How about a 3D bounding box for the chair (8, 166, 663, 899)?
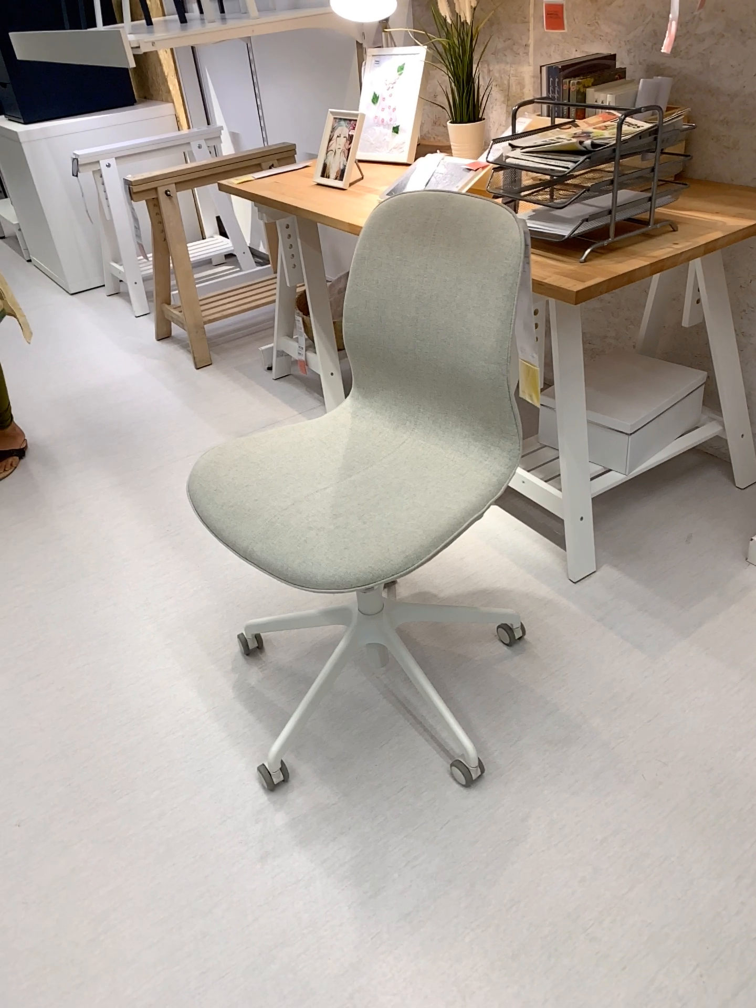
[{"bbox_3d":[-0.044,-0.018,1.320,0.660,0.866,0.662,-29,40,-29],"label":"chair"}]
